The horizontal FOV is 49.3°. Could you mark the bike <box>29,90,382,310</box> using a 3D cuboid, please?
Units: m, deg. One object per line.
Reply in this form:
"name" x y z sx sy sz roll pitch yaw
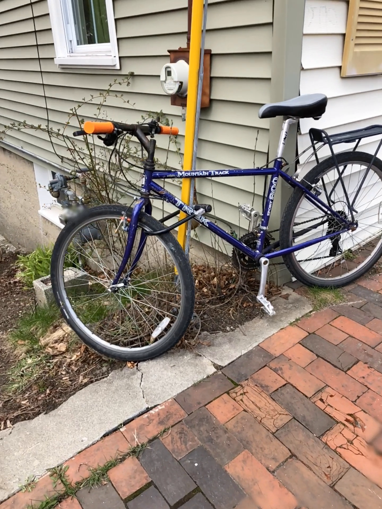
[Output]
"bike" -0.013 -0.253 1.721 1.146 0.690 0.515 -6 26 -5
